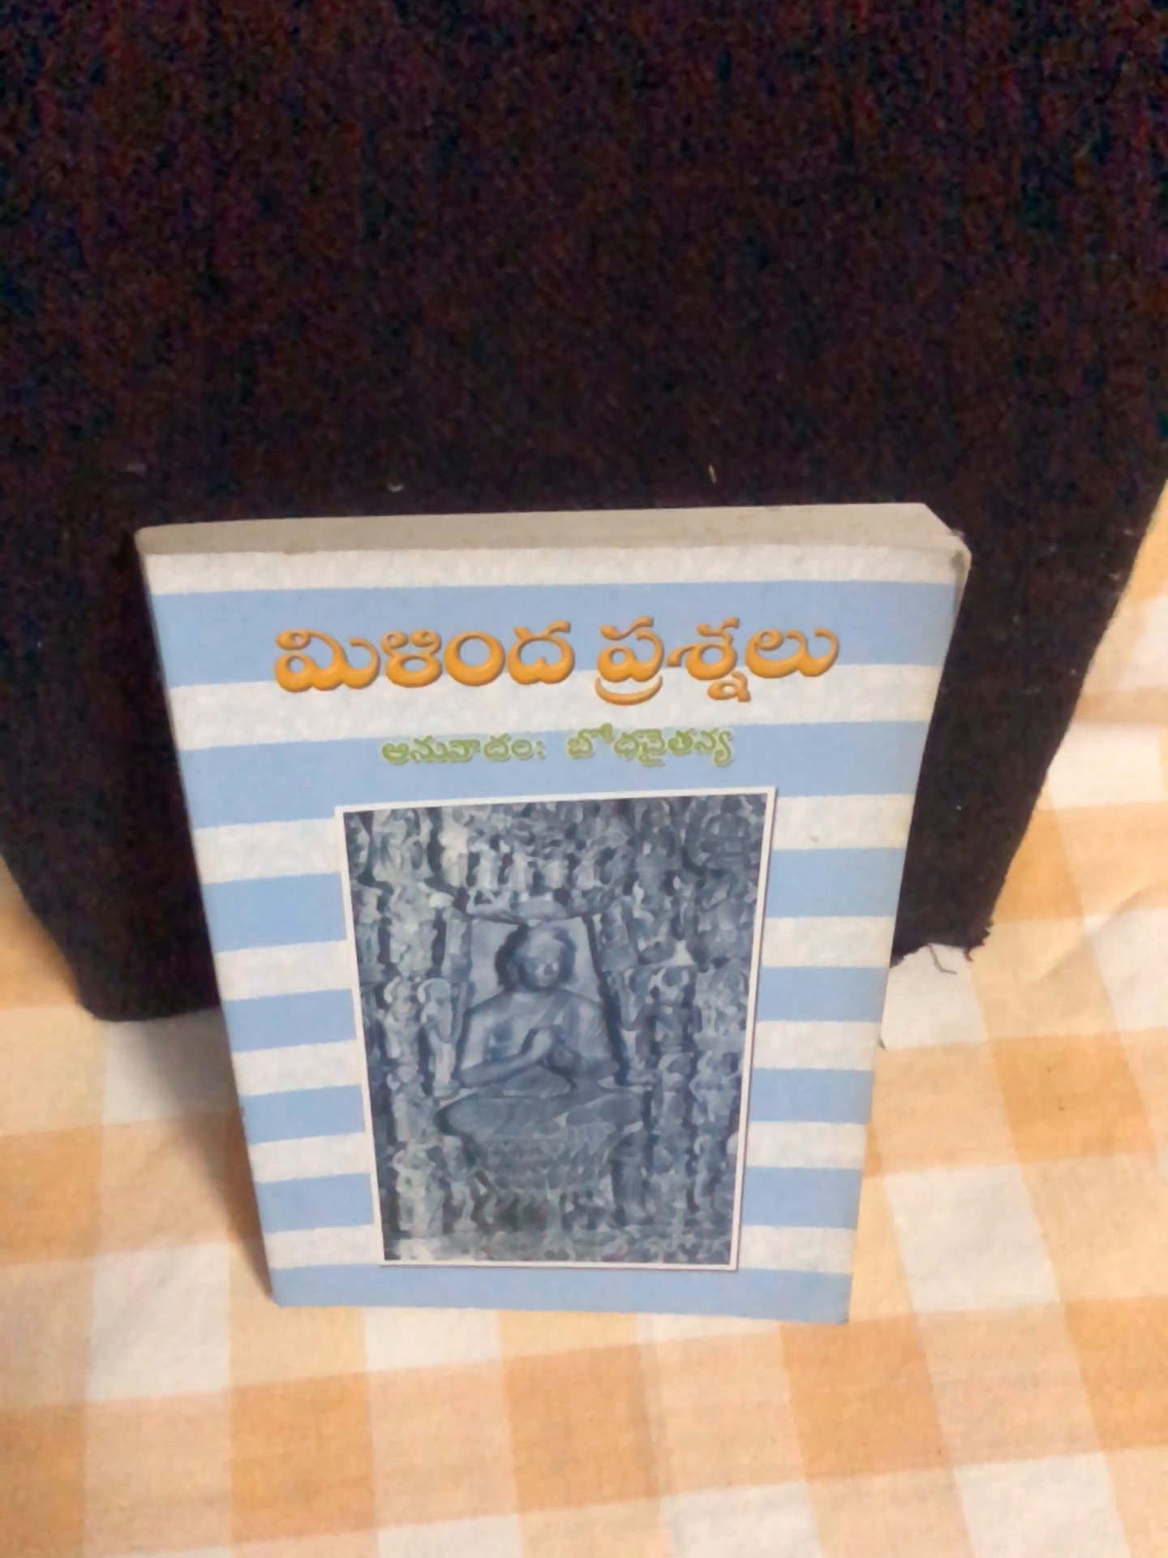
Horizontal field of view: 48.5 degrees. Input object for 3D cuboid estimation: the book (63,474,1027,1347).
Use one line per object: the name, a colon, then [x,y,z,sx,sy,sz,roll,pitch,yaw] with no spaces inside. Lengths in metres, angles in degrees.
book: [-0.008,0.042,0.282,0.160,0.210,0.030,1,31,0]
